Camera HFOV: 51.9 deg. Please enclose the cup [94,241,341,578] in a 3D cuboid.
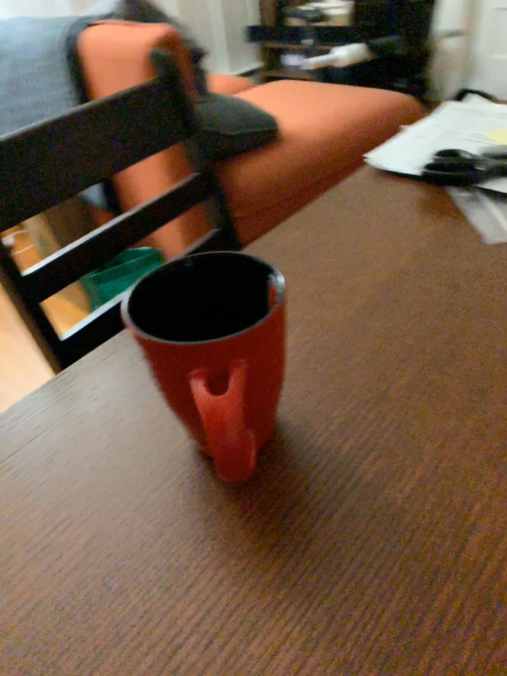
[{"bbox_3d":[-0.014,0.031,0.273,0.090,0.099,0.131,-8,38,0],"label":"cup"}]
